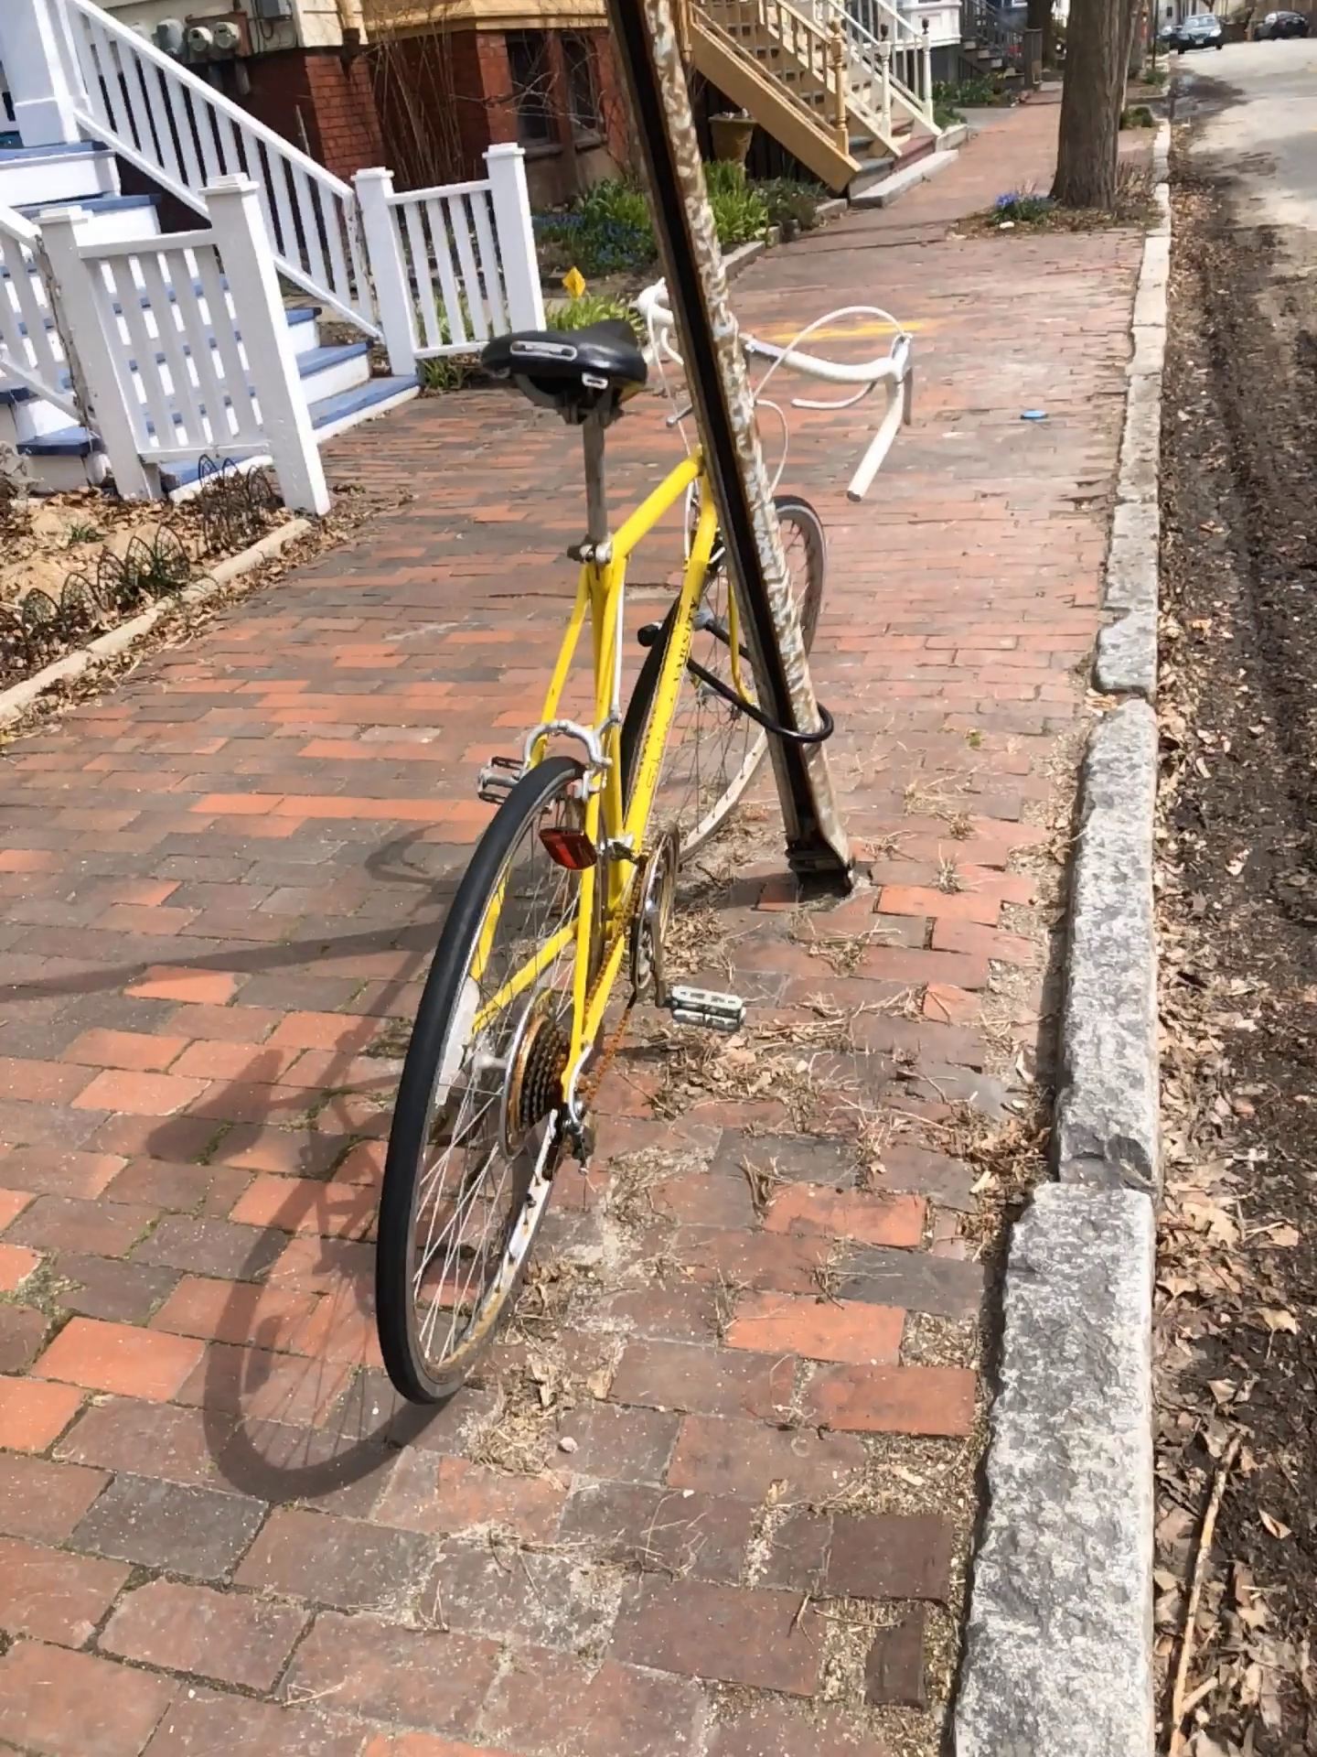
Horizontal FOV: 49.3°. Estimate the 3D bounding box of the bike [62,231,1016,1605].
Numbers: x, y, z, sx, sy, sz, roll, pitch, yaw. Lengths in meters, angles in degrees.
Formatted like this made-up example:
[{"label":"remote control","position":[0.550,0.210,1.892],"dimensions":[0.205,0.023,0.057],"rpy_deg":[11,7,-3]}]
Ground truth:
[{"label":"bike","position":[0.104,-0.186,1.884],"dimensions":[0.522,0.855,1.716],"rpy_deg":[3,34,19]}]
